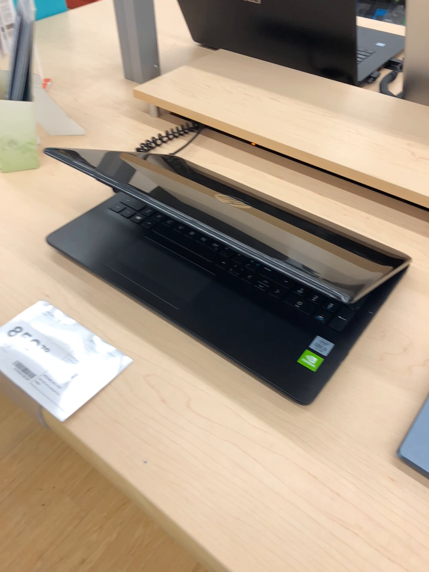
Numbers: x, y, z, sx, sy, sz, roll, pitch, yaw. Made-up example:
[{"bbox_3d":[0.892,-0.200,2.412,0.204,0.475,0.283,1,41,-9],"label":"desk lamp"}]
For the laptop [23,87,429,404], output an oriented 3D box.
[{"bbox_3d":[0.005,-0.085,0.538,0.372,0.115,0.239,29,52,27],"label":"laptop"}]
